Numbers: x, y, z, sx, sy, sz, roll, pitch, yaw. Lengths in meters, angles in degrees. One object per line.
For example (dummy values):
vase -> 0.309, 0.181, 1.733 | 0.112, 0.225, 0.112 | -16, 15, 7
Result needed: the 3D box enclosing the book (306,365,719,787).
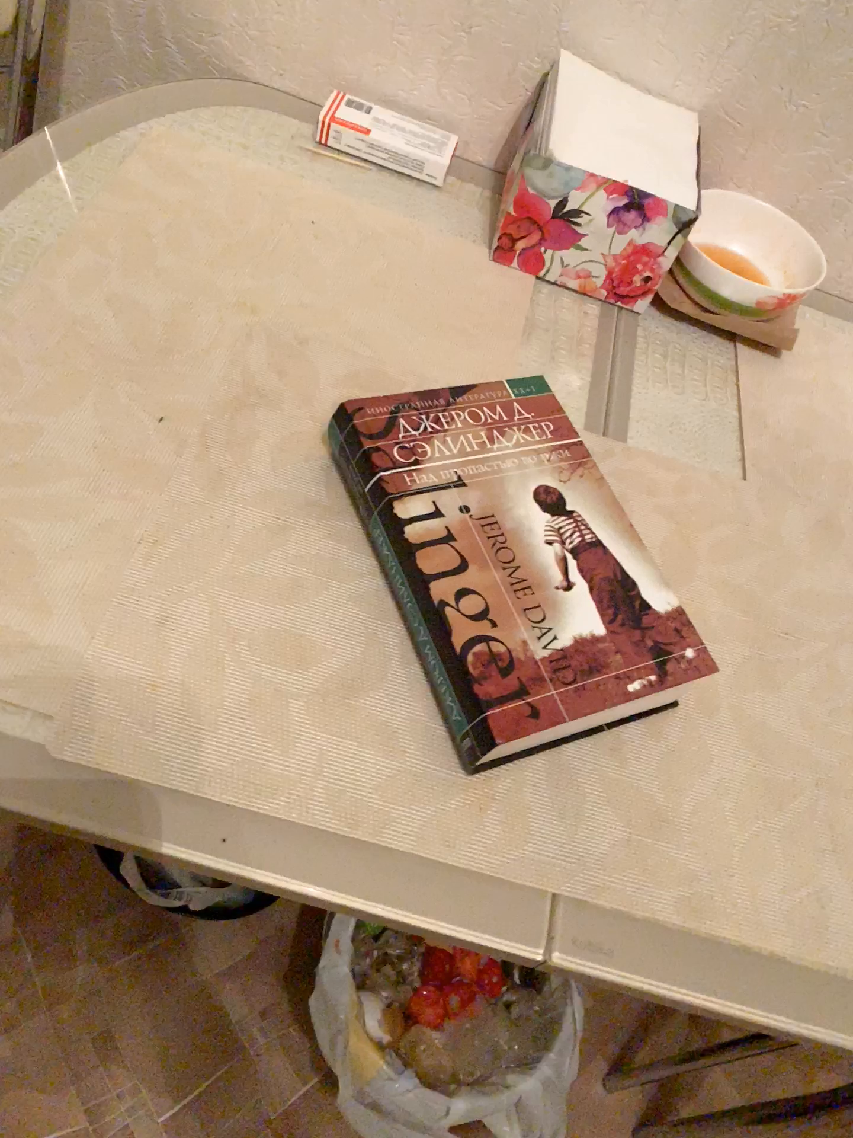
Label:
book -> 0.041, -0.010, 0.495 | 0.150, 0.049, 0.221 | -12, 63, -24
